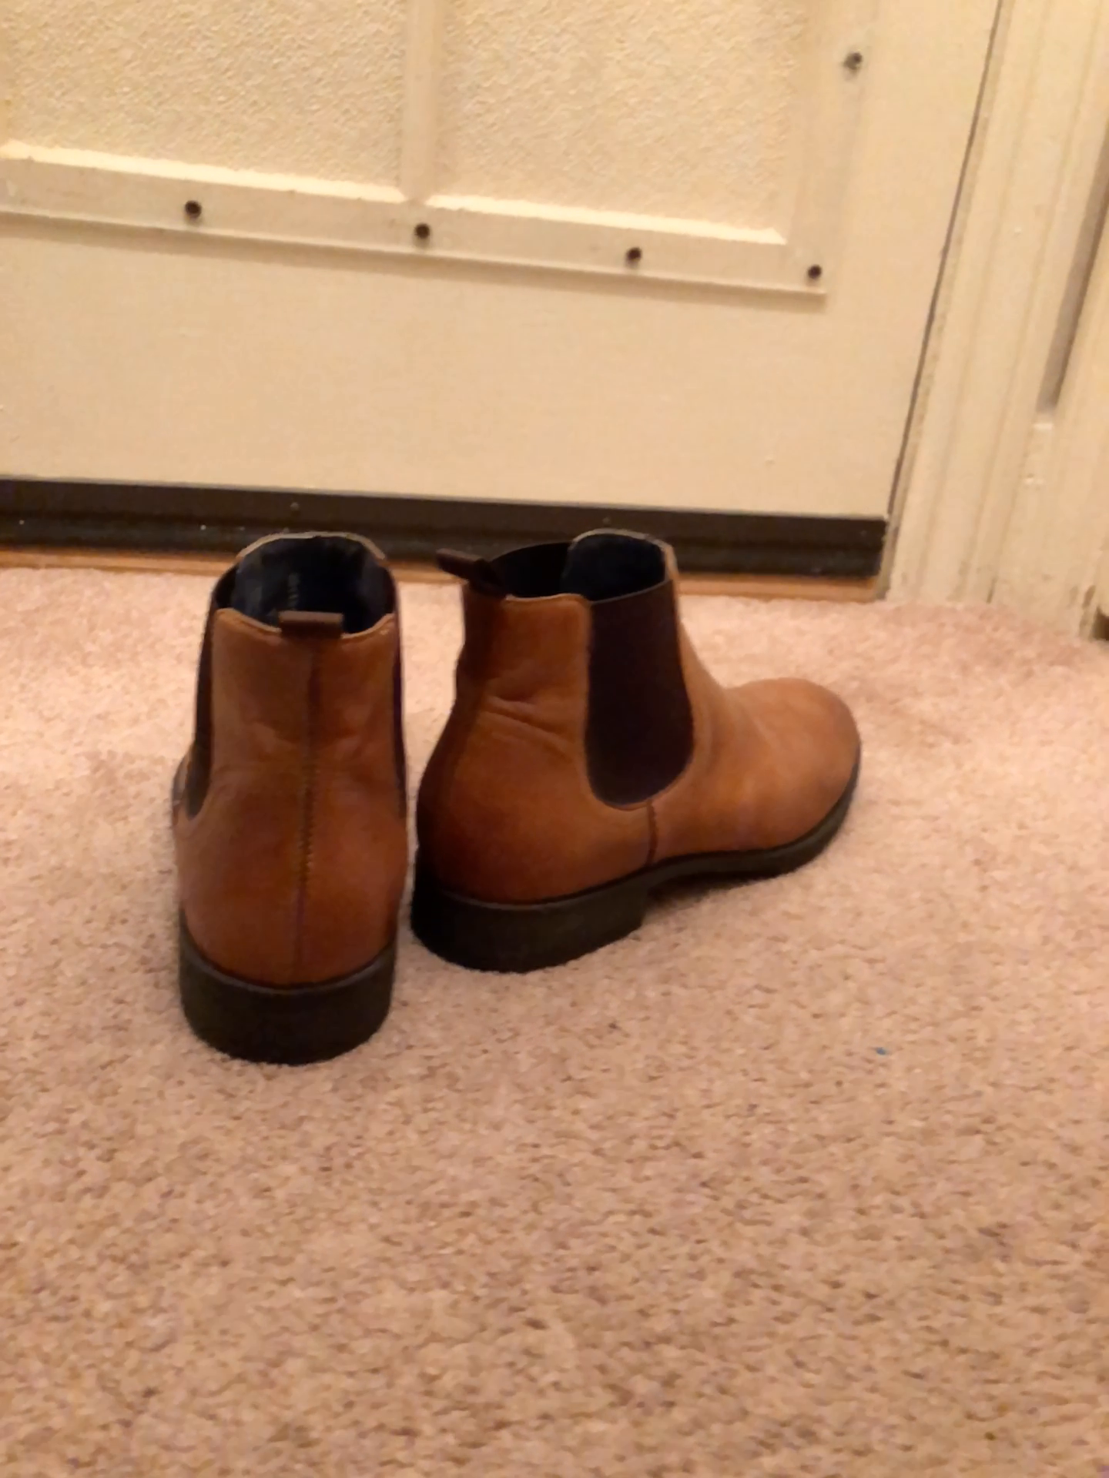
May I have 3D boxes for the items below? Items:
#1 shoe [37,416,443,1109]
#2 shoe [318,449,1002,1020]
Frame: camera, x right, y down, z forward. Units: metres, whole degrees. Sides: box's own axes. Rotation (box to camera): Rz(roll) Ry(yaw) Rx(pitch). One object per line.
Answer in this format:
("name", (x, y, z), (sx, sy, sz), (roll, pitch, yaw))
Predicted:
("shoe", (-0.116, -0.019, 0.513), (0.109, 0.165, 0.314), (2, 24, -10))
("shoe", (0.059, -0.027, 0.551), (0.313, 0.165, 0.109), (-17, 33, -43))
